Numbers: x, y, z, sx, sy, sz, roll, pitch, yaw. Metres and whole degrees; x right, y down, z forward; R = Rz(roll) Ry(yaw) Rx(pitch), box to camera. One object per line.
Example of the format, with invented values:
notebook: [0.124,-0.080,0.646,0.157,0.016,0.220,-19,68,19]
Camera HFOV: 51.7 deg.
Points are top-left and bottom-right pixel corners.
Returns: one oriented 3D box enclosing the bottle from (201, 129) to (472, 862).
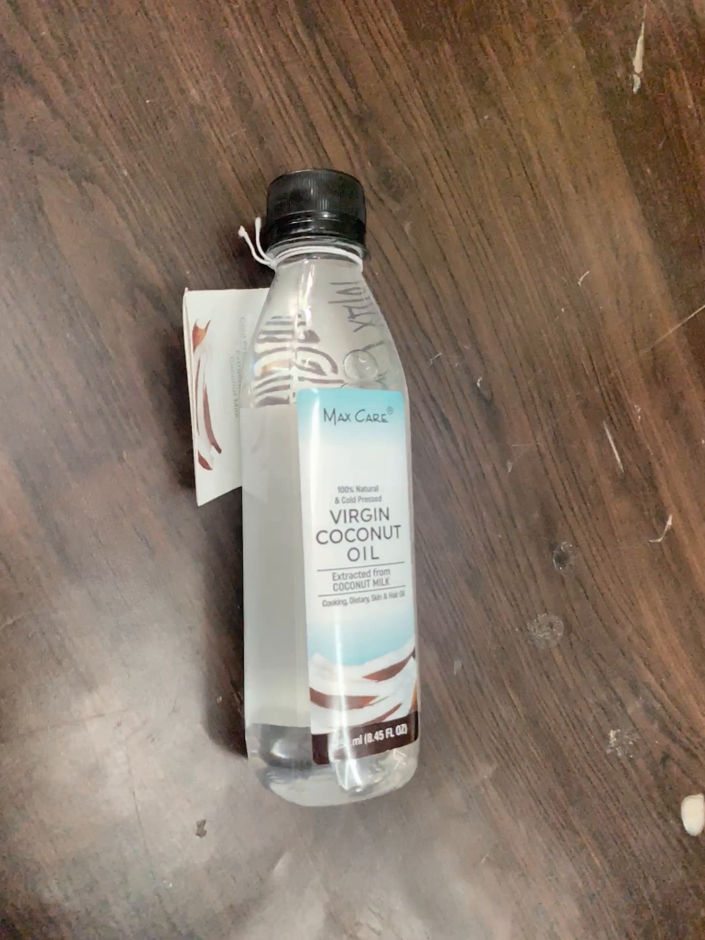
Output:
bottle: [-0.007,0.005,0.203,0.050,0.050,0.170,0,84,-30]
